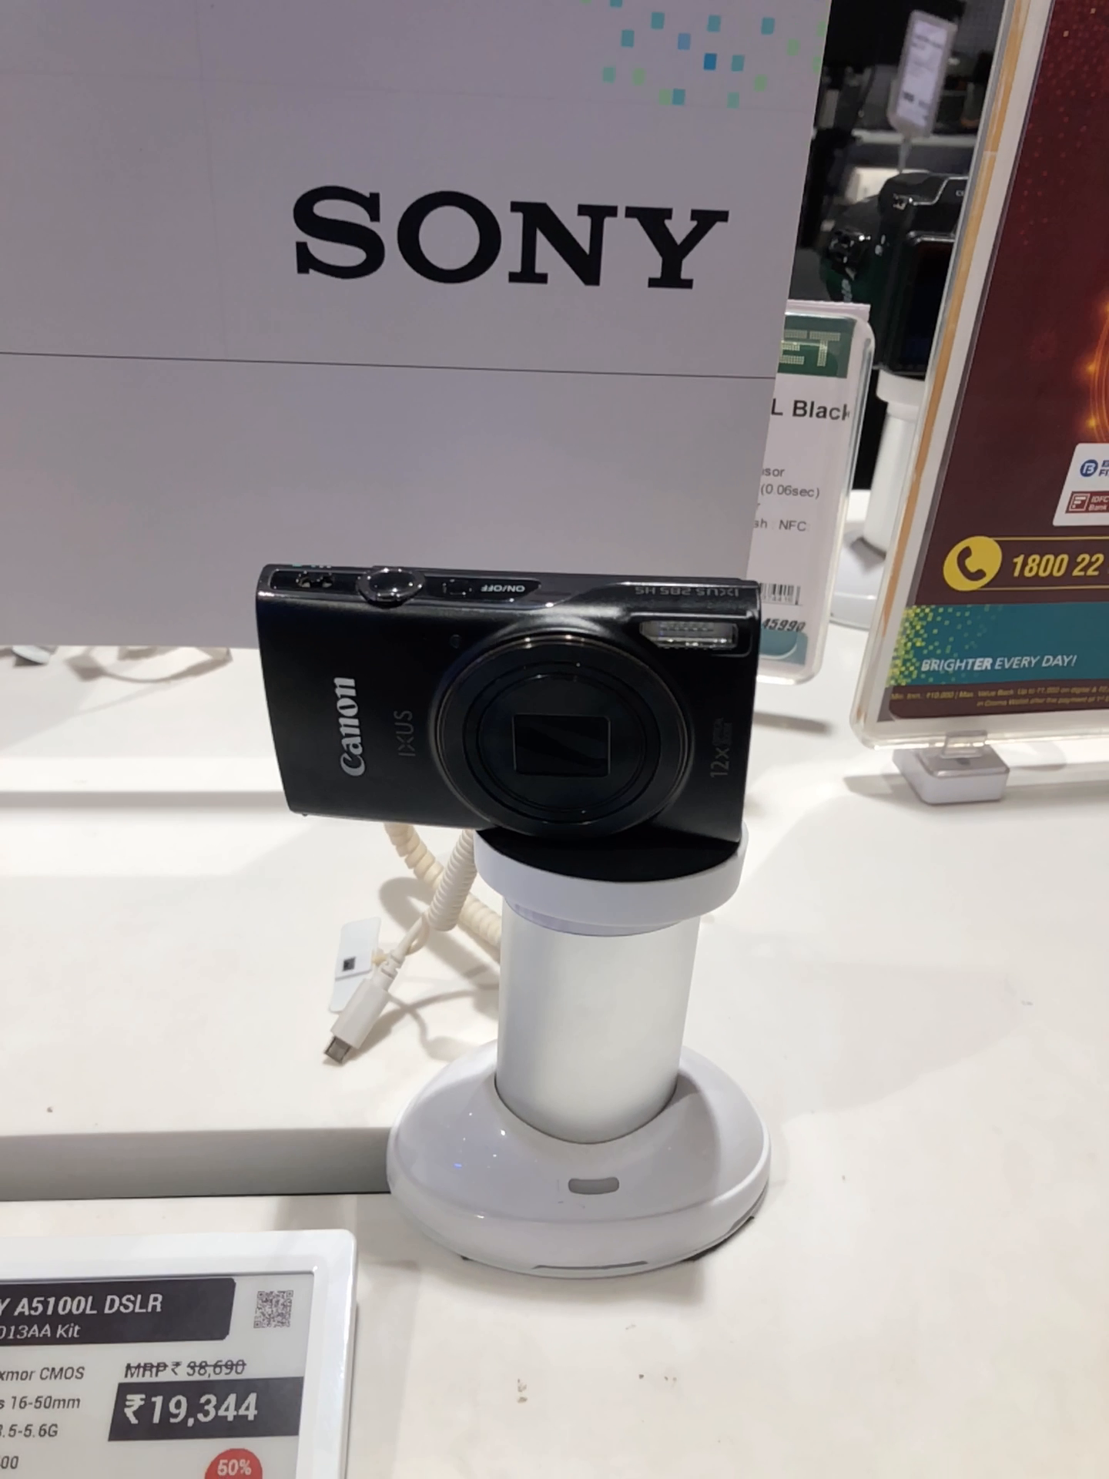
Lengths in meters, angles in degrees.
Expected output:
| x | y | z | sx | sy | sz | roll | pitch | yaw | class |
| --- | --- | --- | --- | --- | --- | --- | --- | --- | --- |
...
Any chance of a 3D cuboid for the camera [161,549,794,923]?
| x | y | z | sx | sy | sz | roll | pitch | yaw | class |
| --- | --- | --- | --- | --- | --- | --- | --- | --- | --- |
| -0.014 | 0.000 | 0.242 | 0.110 | 0.060 | 0.030 | 4 | 34 | 0 | camera |
